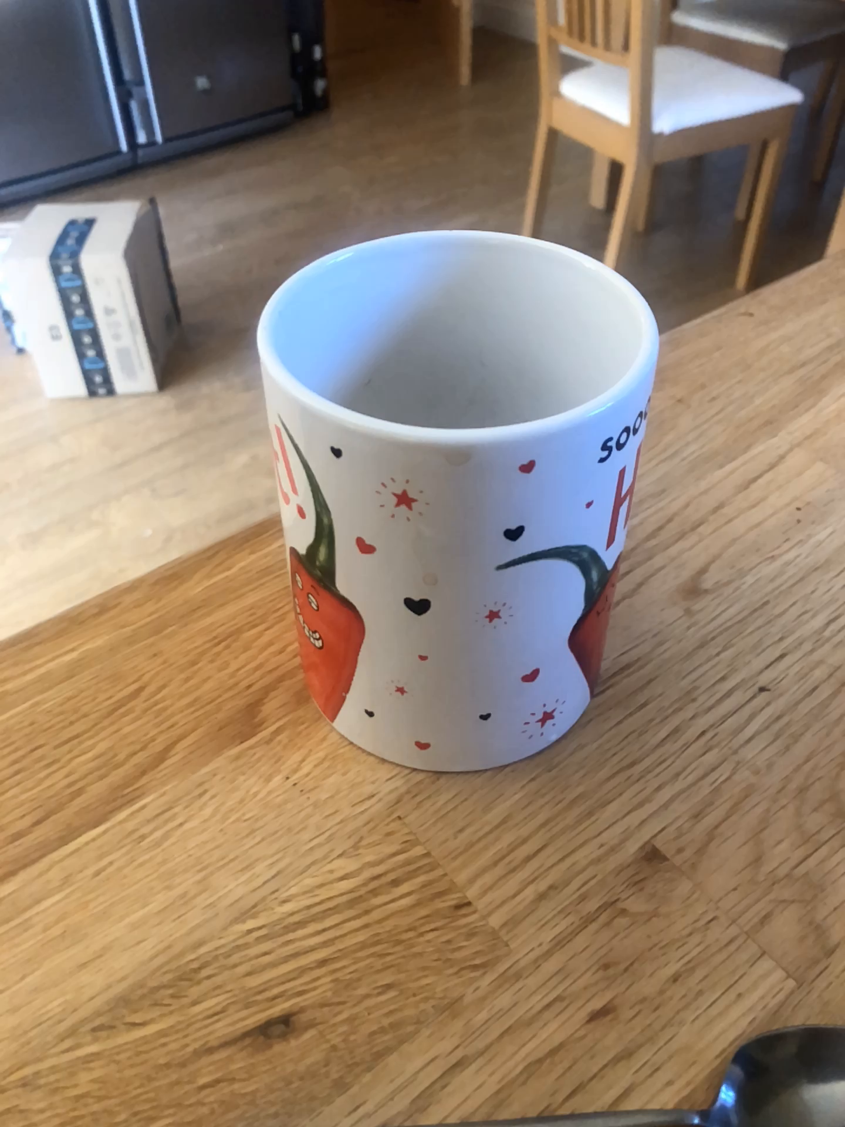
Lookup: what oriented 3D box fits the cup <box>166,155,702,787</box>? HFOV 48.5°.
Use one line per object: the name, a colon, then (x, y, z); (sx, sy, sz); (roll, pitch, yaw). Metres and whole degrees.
cup: (0.005, -0.030, 0.256); (0.097, 0.109, 0.137); (1, 43, 2)
